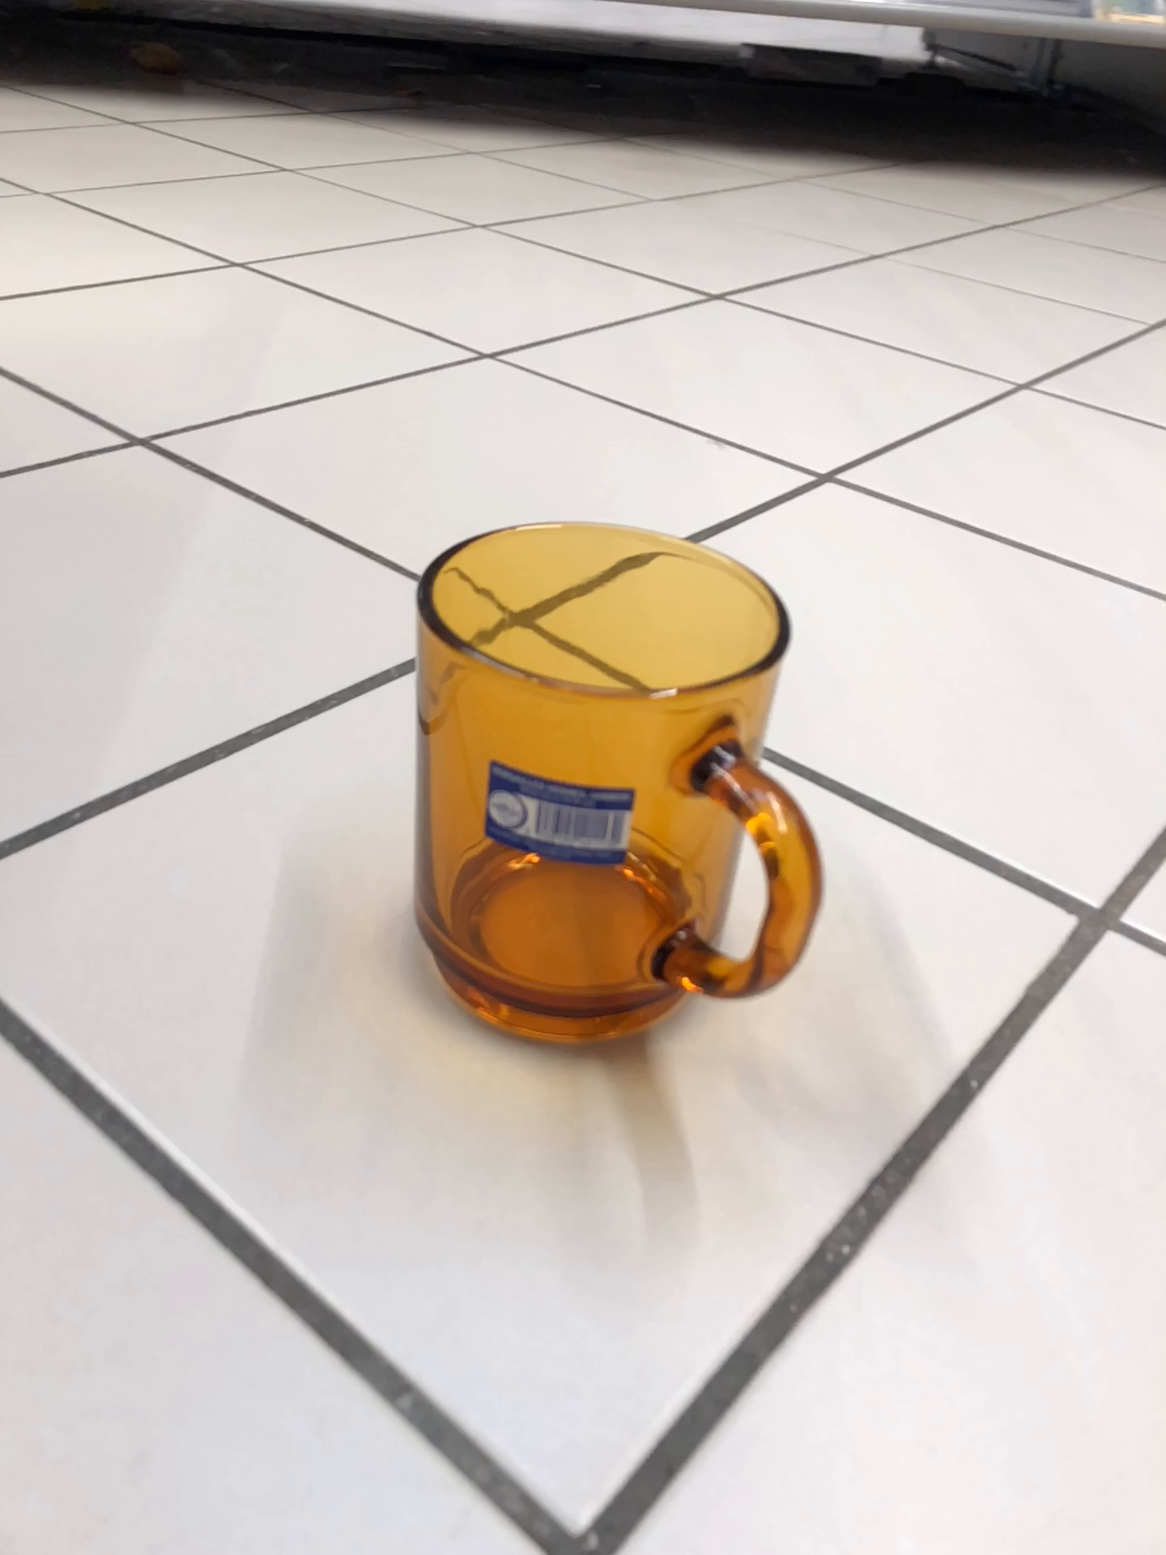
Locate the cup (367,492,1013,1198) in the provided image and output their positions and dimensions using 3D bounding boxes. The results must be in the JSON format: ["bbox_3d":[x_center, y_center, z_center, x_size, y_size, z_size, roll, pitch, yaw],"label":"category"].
[{"bbox_3d":[0.011,0.005,0.249,0.074,0.082,0.096,-14,39,-27],"label":"cup"}]
